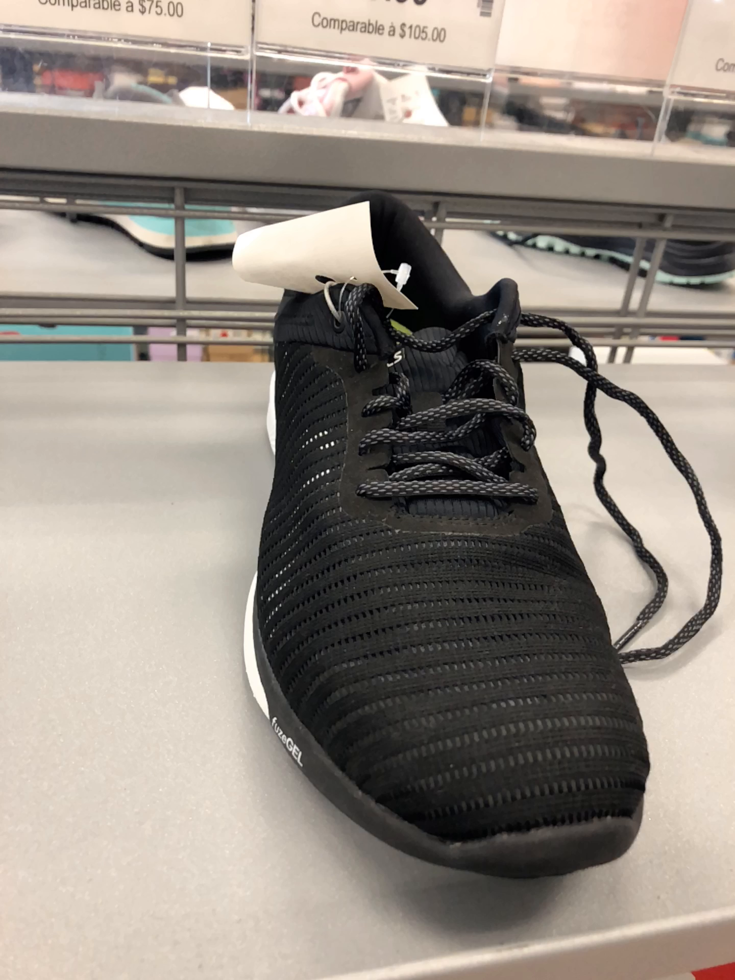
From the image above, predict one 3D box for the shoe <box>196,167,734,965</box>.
[{"bbox_3d":[0.006,-0.022,0.298,0.120,0.119,0.302,-2,32,-14],"label":"shoe"}]
